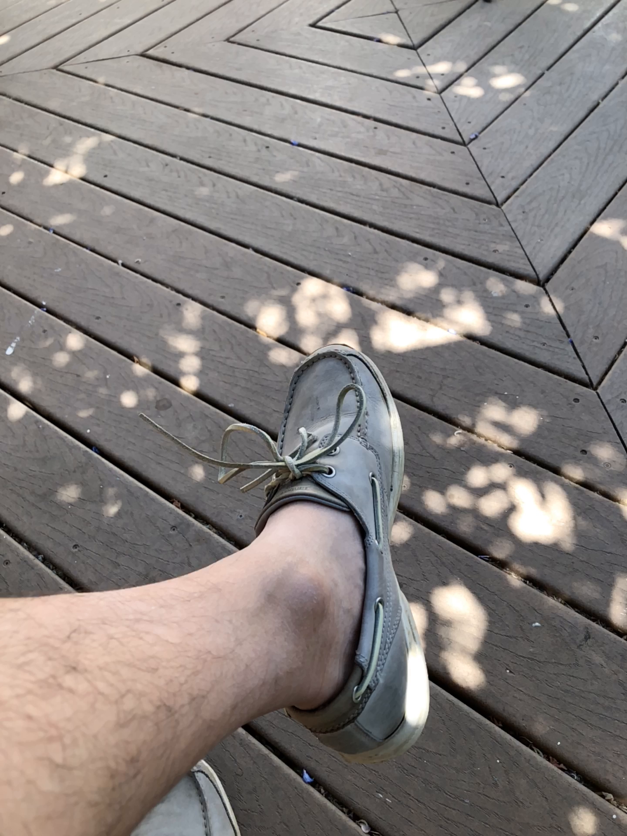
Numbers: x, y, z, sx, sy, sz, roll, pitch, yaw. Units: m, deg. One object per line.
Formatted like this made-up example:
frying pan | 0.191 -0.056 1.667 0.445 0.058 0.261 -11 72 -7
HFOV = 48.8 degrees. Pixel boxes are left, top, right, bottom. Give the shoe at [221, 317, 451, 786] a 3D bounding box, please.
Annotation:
shoe | 0.015 0.088 0.529 0.110 0.092 0.324 -28 44 32
